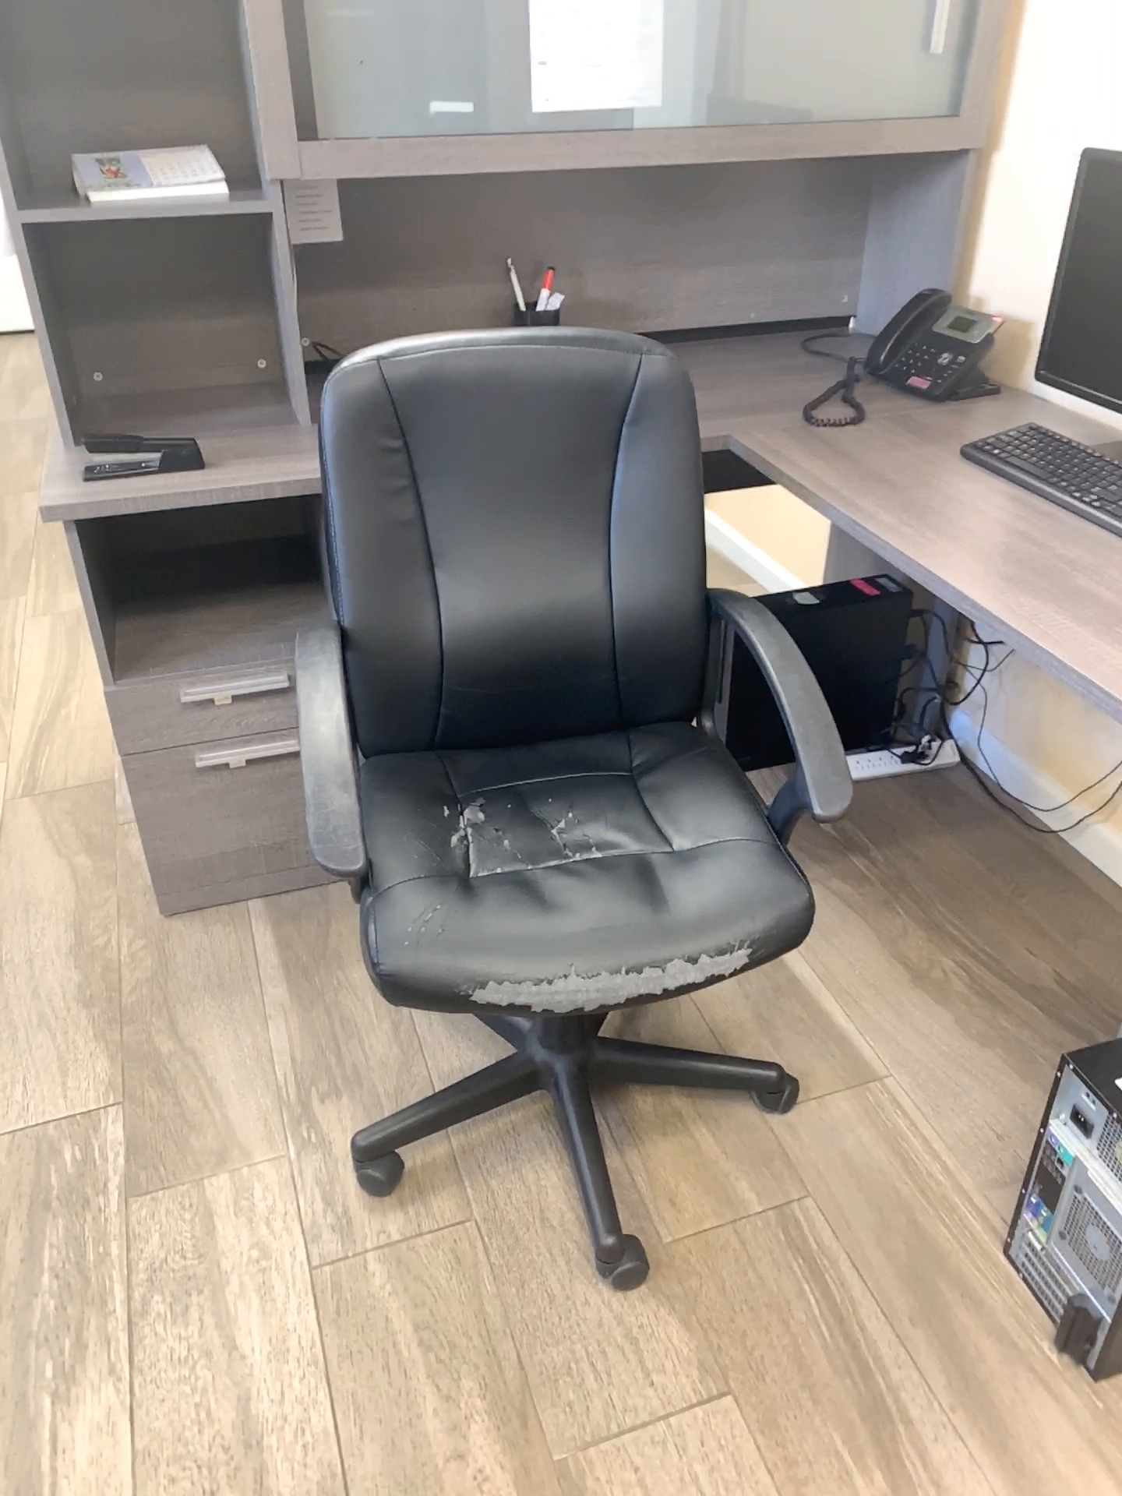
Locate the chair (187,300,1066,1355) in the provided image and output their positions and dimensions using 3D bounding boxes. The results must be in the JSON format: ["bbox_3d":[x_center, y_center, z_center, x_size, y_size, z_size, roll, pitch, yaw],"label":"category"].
[{"bbox_3d":[0.004,0.058,1.326,0.650,0.945,0.643,-8,33,-11],"label":"chair"}]
